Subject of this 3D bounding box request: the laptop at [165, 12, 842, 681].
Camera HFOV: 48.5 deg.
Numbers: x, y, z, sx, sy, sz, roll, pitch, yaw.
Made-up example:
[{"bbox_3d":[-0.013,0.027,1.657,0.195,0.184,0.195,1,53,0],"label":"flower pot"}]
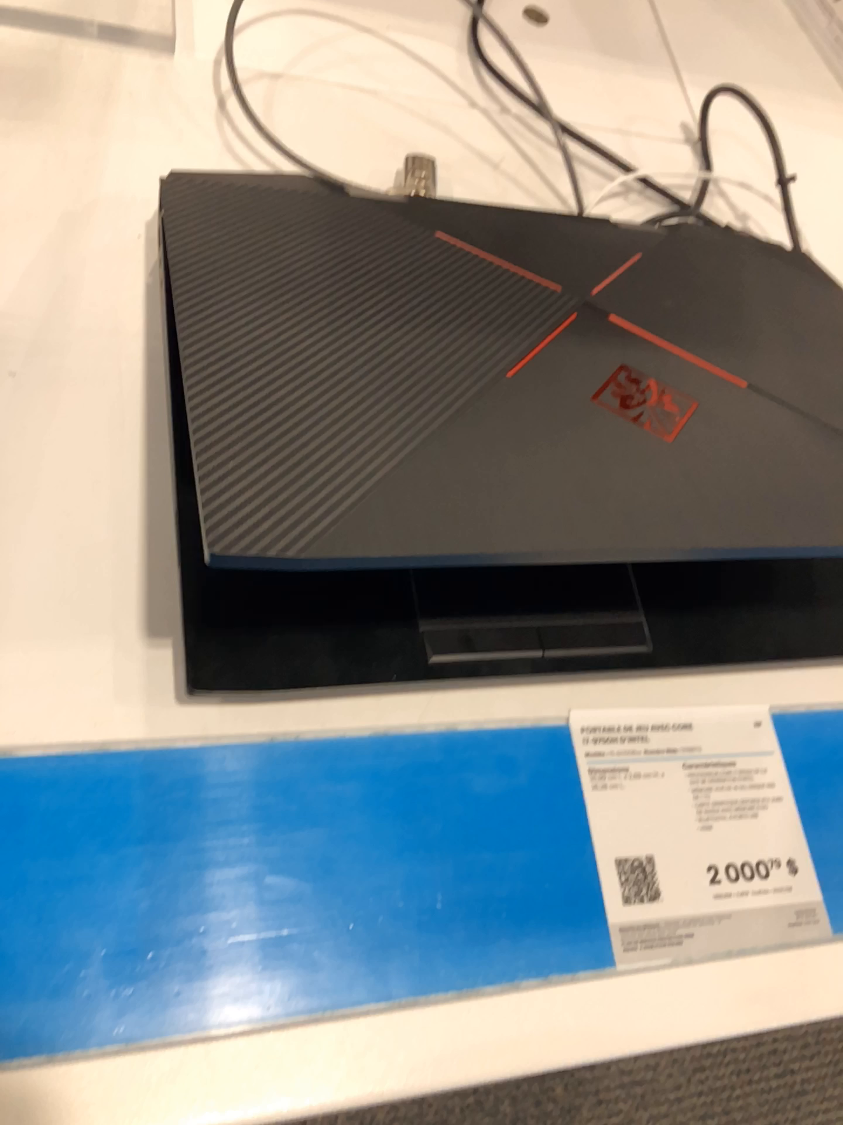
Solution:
[{"bbox_3d":[0.079,-0.082,0.395,0.346,0.085,0.235,0,64,-19],"label":"laptop"}]
